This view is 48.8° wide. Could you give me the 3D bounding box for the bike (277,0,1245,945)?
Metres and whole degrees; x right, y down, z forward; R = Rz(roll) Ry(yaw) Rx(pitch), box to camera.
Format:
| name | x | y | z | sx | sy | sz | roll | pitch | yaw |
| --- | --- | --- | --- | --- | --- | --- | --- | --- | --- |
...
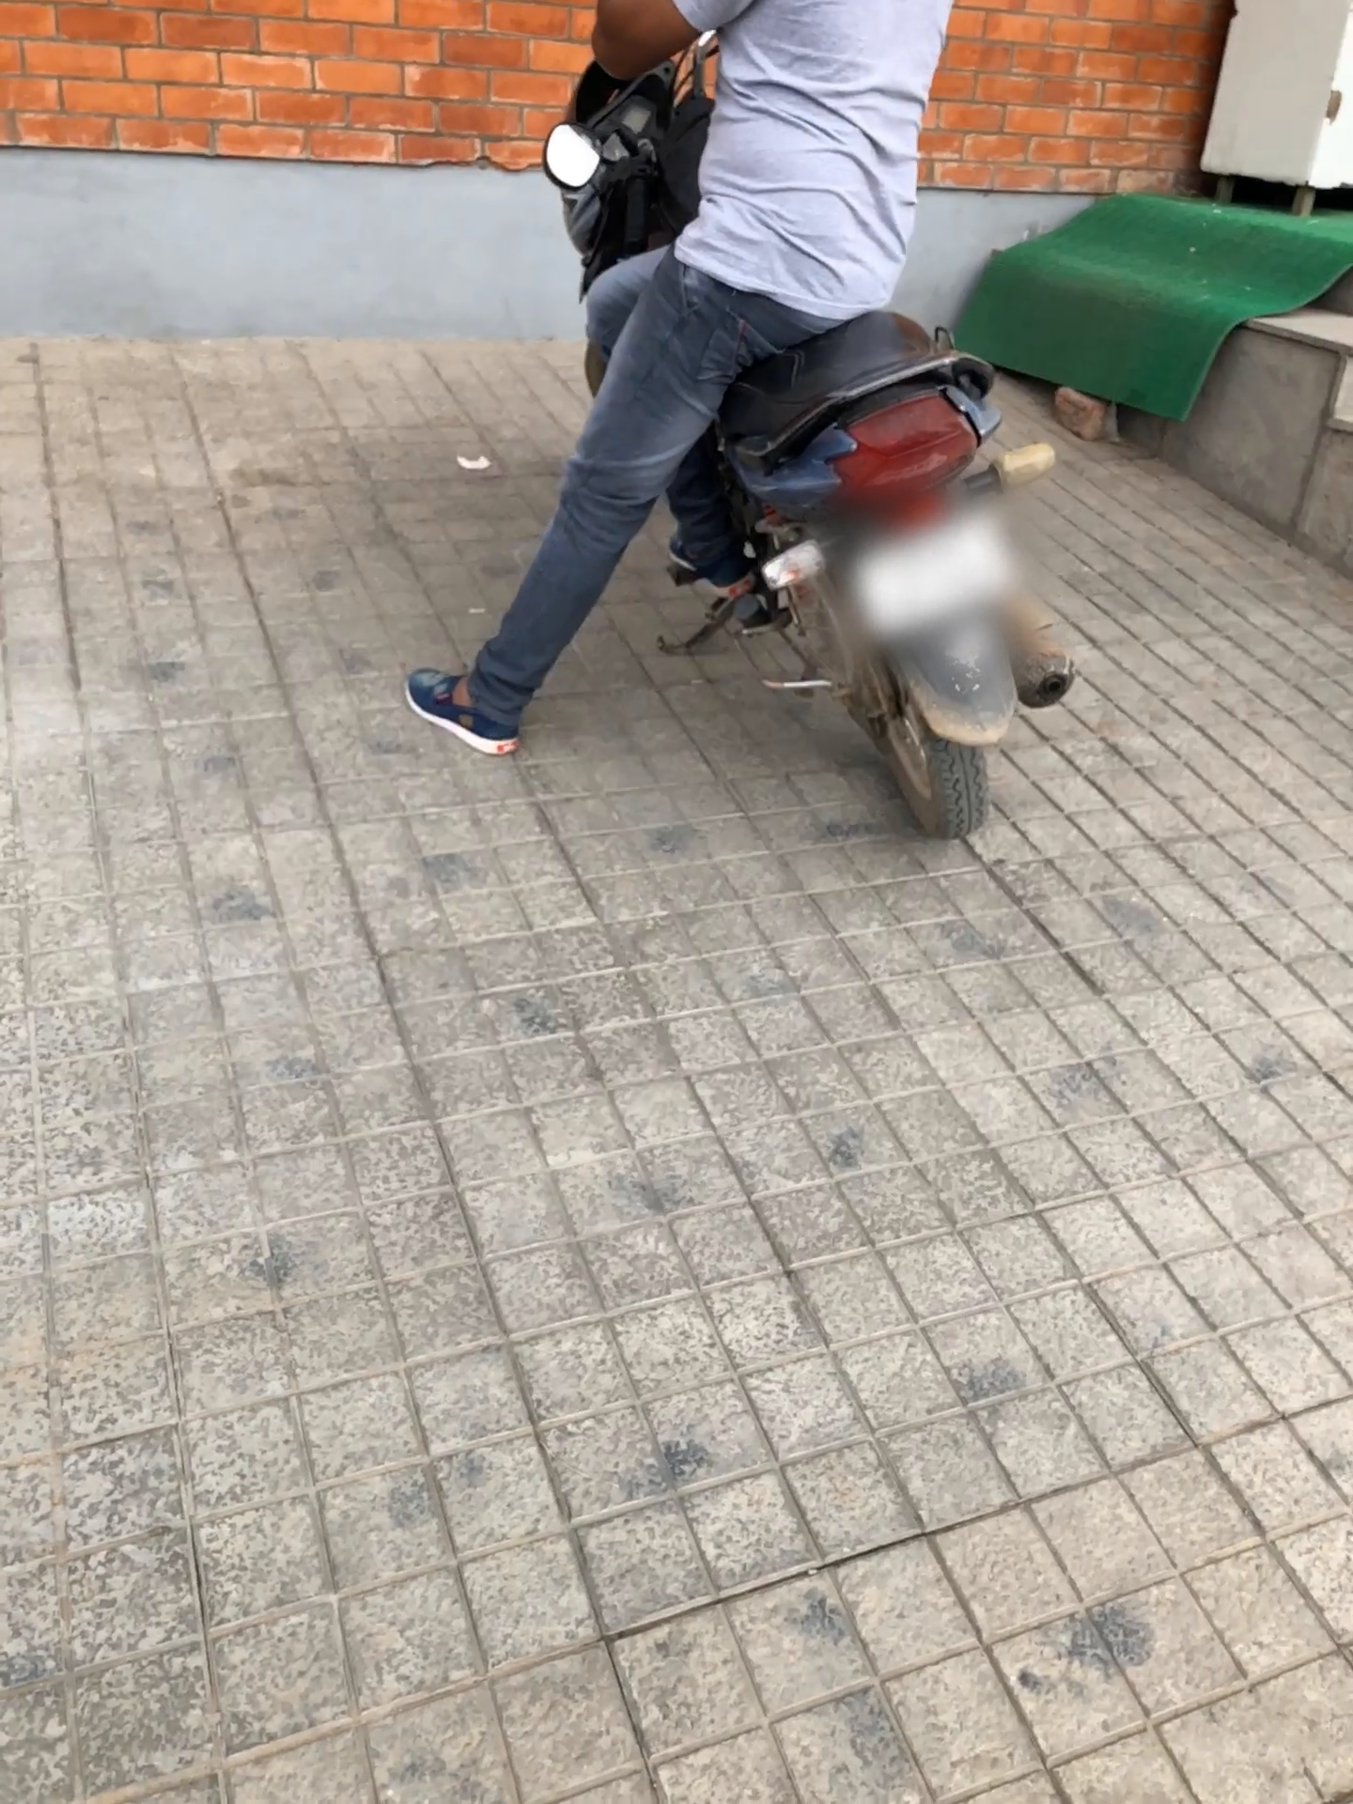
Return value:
| name | x | y | z | sx | sy | sz | roll | pitch | yaw |
| --- | --- | --- | --- | --- | --- | --- | --- | --- | --- |
| bike | -0.094 | -1.076 | 2.683 | 0.813 | 1.344 | 1.828 | -8 | 36 | -19 |
